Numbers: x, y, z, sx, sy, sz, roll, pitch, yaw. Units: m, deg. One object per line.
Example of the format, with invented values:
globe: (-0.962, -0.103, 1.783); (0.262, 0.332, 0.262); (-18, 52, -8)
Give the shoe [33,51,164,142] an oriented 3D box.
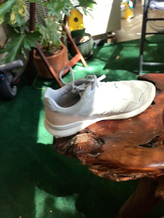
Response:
shoe: (0.036, -0.032, 0.398); (0.263, 0.091, 0.103); (-17, 41, -3)
